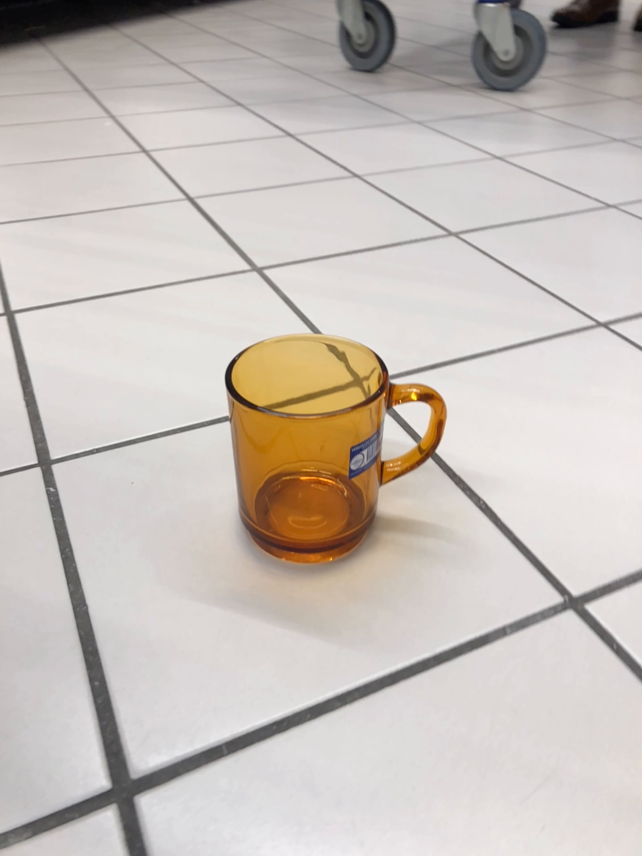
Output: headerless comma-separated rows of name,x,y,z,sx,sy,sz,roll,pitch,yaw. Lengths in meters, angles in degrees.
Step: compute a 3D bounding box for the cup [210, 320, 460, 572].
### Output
cup,0.002,0.006,0.324,0.096,0.082,0.075,-3,36,-5
